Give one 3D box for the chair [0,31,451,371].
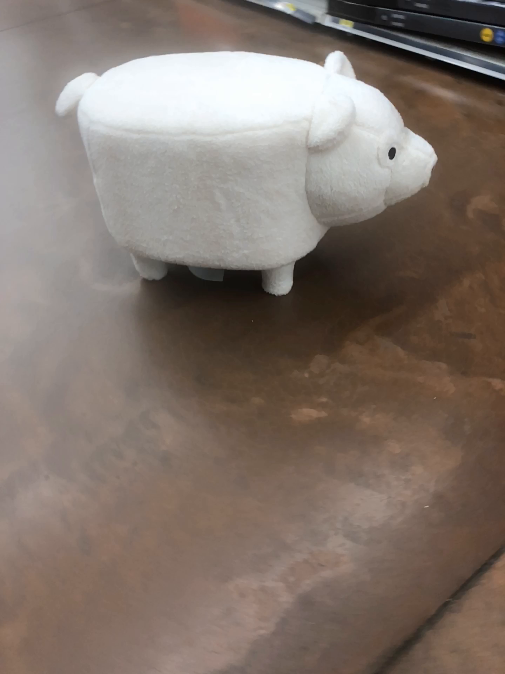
[{"bbox_3d":[-0.023,-0.280,1.013,0.630,0.349,0.441,12,47,16],"label":"chair"}]
